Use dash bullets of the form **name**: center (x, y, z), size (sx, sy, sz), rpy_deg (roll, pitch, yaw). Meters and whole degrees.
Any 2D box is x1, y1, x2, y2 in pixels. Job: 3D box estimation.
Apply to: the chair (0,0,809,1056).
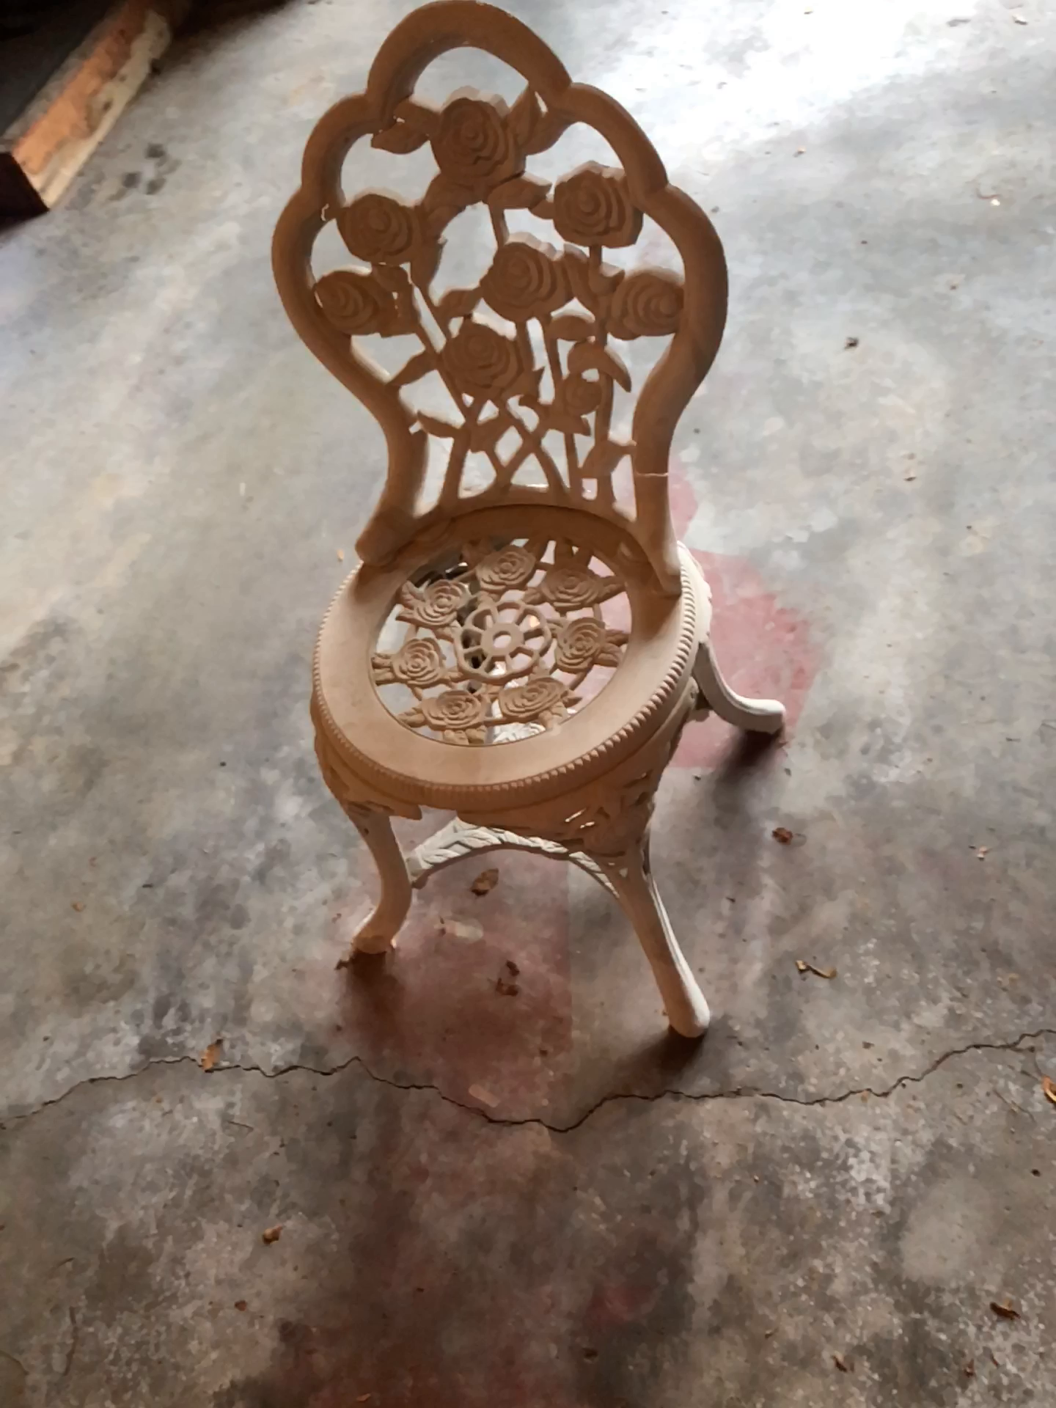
- **chair**: center (-0.040, -0.104, 1.129), size (0.490, 0.899, 0.500), rpy_deg (8, 58, 21)
